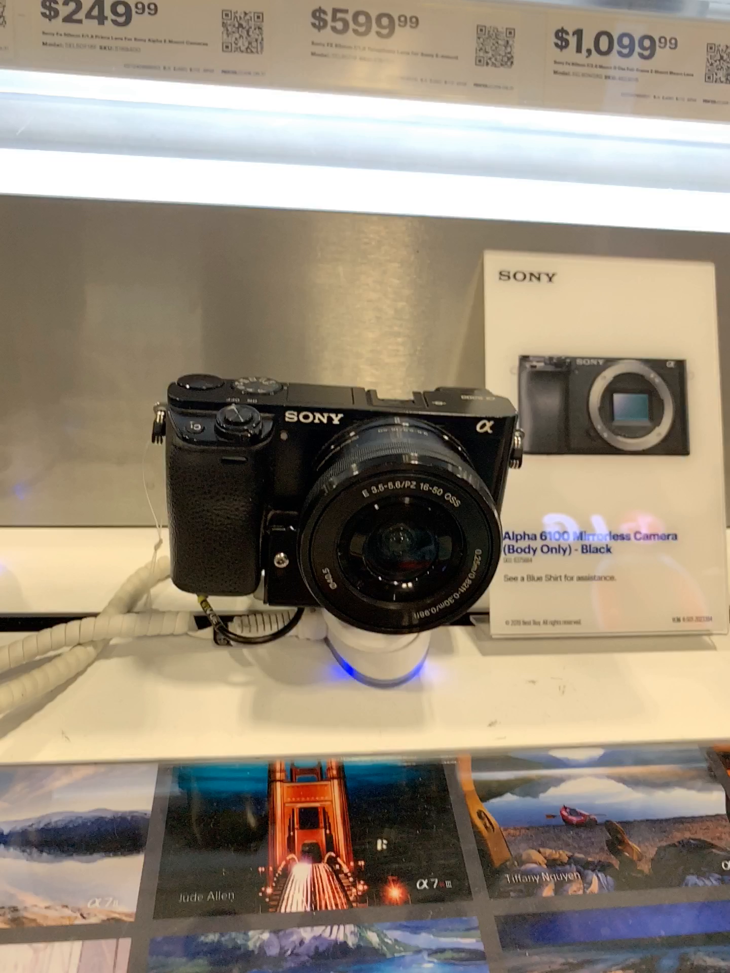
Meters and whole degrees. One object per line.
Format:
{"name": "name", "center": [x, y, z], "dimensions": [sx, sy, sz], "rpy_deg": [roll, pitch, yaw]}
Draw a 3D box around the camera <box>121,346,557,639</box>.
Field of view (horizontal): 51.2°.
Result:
{"name": "camera", "center": [-0.010, 0.000, 0.254], "dimensions": [0.120, 0.074, 0.066], "rpy_deg": [2, 24, -5]}
